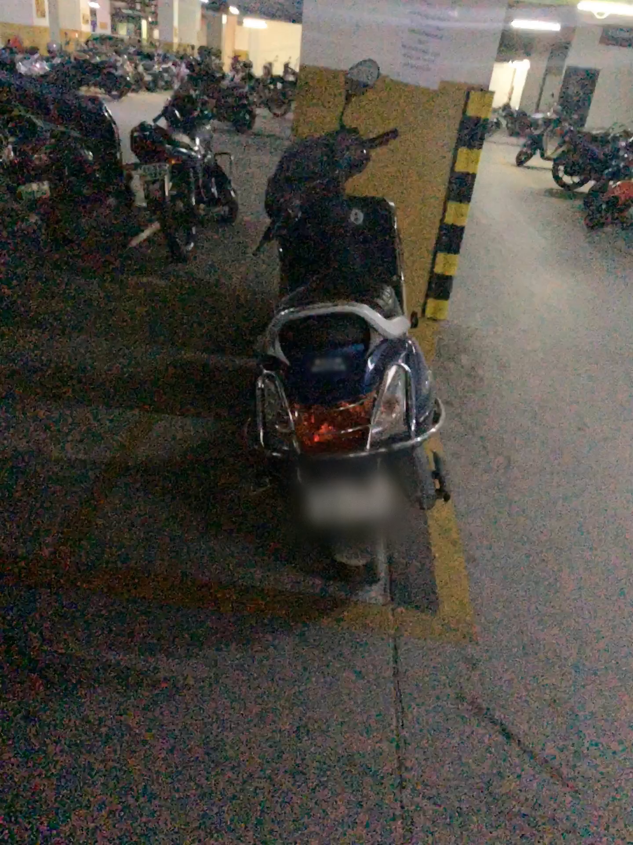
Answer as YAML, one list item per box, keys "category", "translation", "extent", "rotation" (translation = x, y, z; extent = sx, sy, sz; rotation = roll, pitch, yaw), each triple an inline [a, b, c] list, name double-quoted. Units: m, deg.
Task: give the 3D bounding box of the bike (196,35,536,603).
- category: "bike"
  translation: [-0.006, -0.403, 1.976]
  extent: [0.630, 1.062, 1.277]
  rotation: [3, 35, -9]
